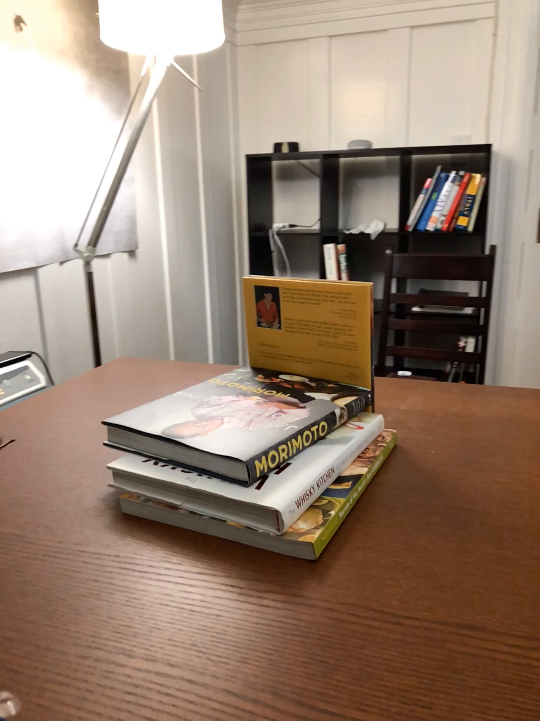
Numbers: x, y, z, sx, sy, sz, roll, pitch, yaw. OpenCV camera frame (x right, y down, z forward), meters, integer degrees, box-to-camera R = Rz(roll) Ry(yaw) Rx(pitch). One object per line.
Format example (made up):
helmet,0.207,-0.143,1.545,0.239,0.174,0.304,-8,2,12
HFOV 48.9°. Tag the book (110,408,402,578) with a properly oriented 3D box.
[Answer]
book,0.004,0.123,0.661,0.220,0.030,0.281,6,16,25

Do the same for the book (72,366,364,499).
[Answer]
book,-0.048,0.067,0.710,0.220,0.030,0.281,9,17,32

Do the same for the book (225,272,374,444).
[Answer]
book,0.037,-0.009,0.807,0.210,0.209,0.030,8,20,35

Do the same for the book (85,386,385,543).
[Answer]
book,-0.021,0.094,0.665,0.220,0.030,0.281,7,16,27
